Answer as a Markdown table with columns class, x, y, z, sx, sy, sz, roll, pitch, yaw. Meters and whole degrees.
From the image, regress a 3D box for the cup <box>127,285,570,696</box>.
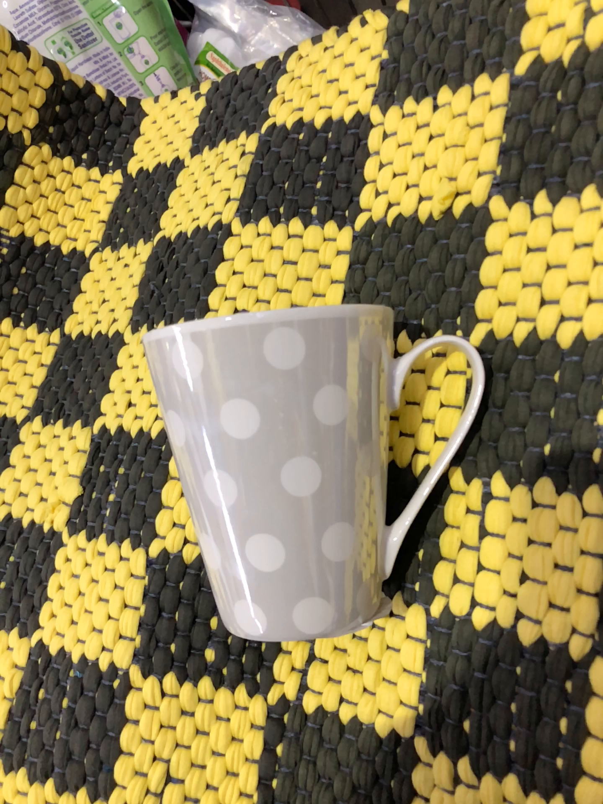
| class | x | y | z | sx | sy | sz | roll | pitch | yaw |
| --- | --- | --- | --- | --- | --- | --- | --- | --- | --- |
| cup | 0.008 | 0.021 | 0.231 | 0.120 | 0.090 | 0.100 | -6 | 91 | -13 |
